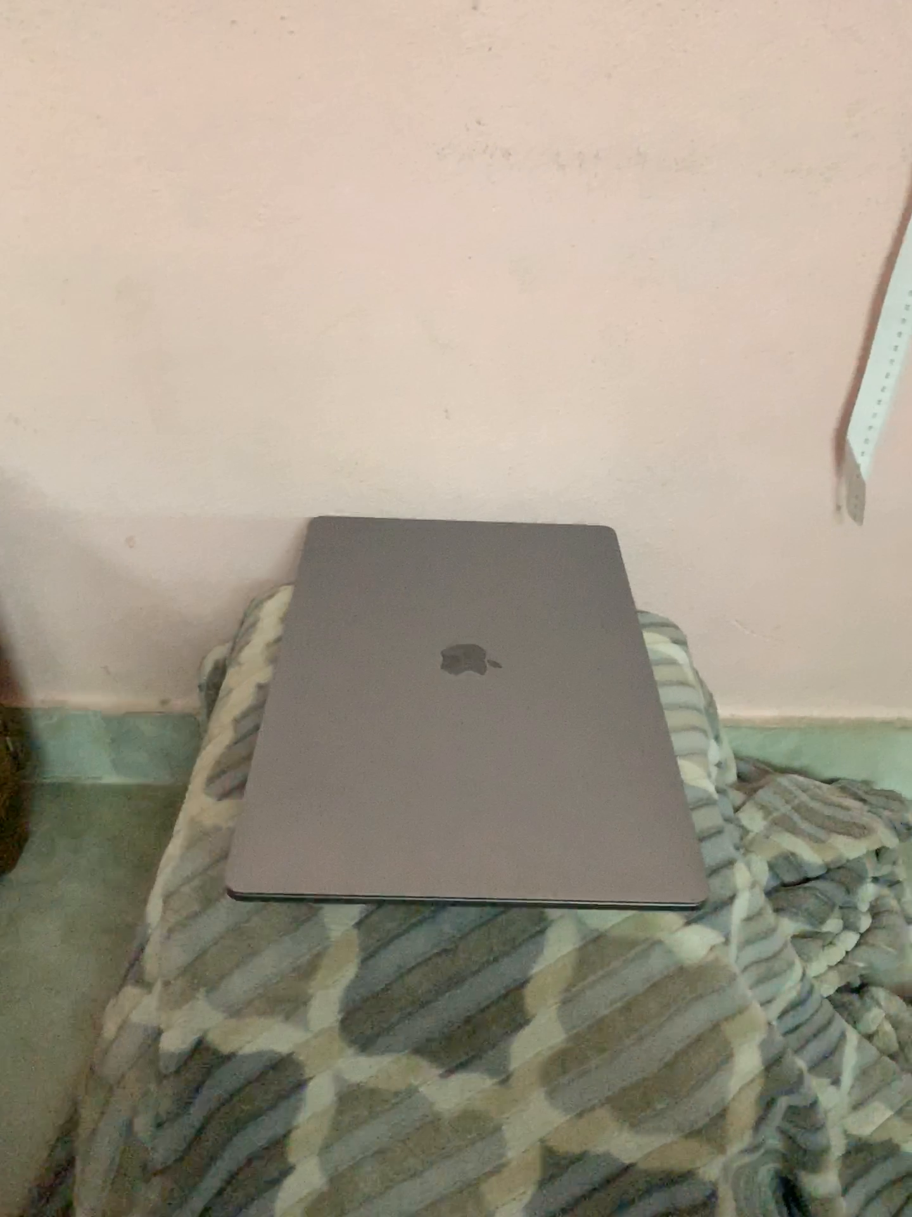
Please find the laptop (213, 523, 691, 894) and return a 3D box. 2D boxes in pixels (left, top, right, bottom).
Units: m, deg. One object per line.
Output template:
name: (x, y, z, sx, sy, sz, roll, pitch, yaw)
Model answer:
laptop: (-0.005, 0.036, 0.574, 0.228, 0.002, 0.327, 0, 37, -1)
